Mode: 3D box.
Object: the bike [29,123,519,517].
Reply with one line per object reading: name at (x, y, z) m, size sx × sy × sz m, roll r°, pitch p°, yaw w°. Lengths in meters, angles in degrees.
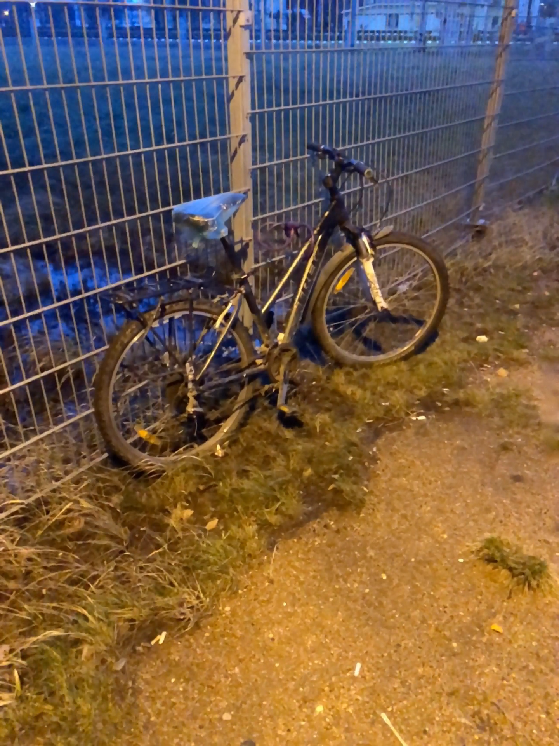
bike at (0.053, -0.312, 2.296) m, size 1.586 × 0.947 × 0.572 m, roll -21°, pitch 35°, yaw -29°
